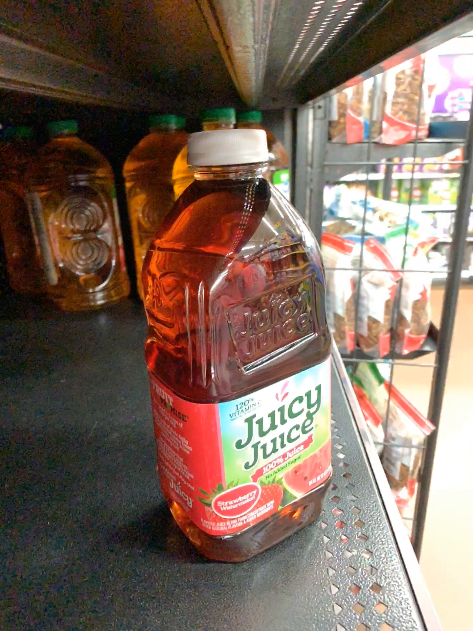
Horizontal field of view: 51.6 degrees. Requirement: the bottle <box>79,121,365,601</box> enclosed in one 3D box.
[{"bbox_3d":[-0.003,0.018,0.307,0.125,0.255,0.090,-16,25,-34],"label":"bottle"}]
